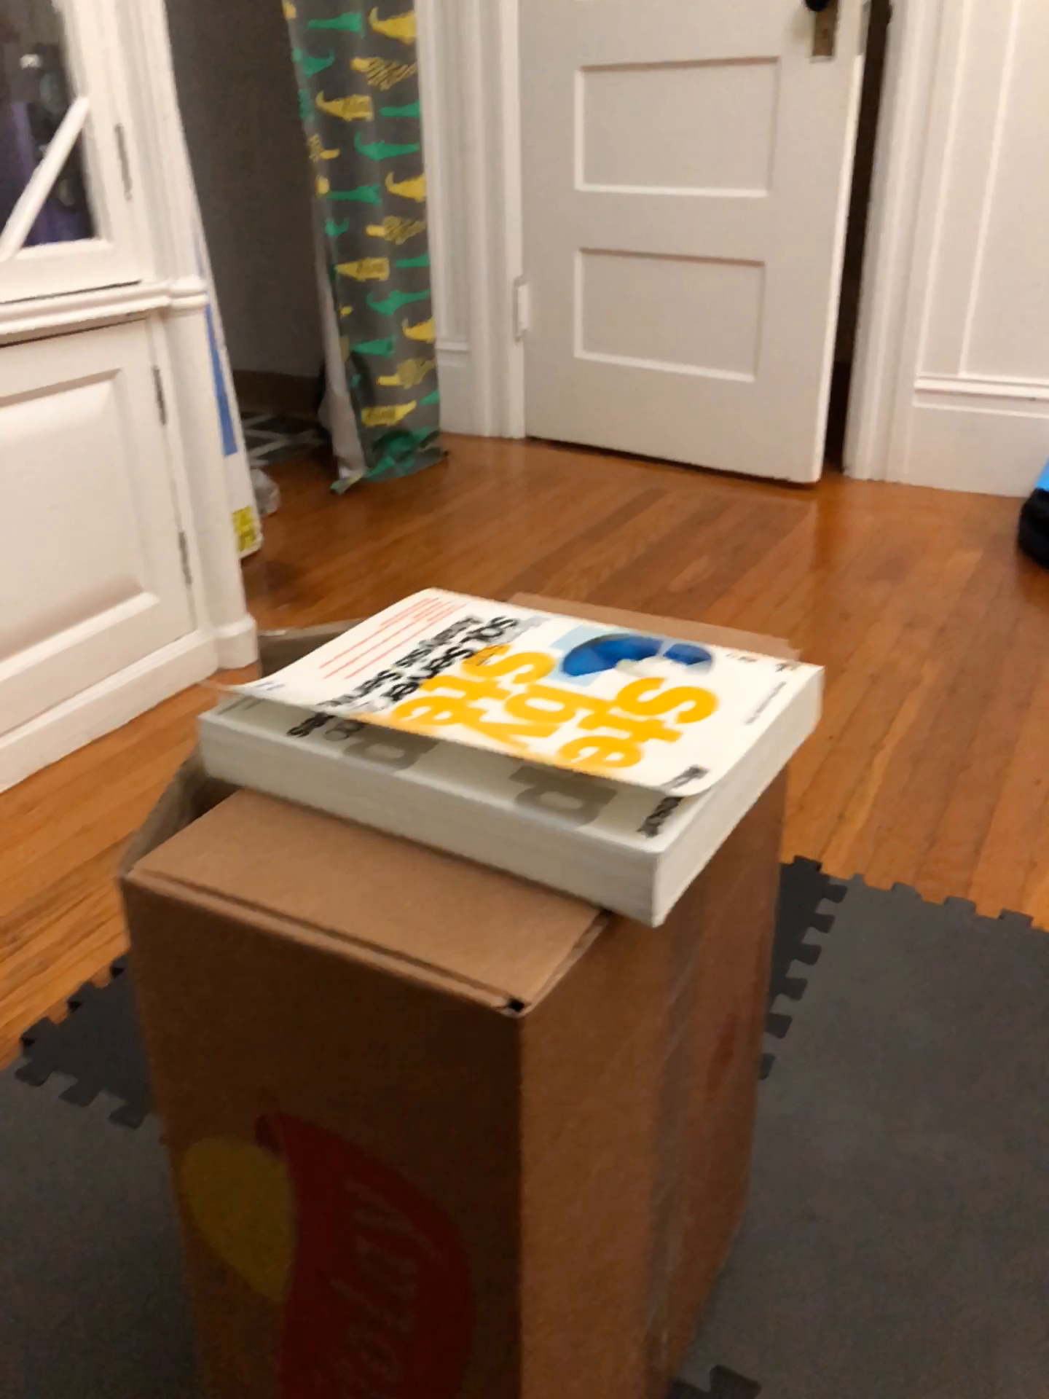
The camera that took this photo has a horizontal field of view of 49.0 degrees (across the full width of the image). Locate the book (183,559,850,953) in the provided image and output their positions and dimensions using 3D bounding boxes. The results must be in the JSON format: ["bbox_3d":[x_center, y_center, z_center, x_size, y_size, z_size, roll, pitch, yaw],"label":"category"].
[{"bbox_3d":[0.006,0.006,0.536,0.240,0.050,0.201,10,31,25],"label":"book"}]
